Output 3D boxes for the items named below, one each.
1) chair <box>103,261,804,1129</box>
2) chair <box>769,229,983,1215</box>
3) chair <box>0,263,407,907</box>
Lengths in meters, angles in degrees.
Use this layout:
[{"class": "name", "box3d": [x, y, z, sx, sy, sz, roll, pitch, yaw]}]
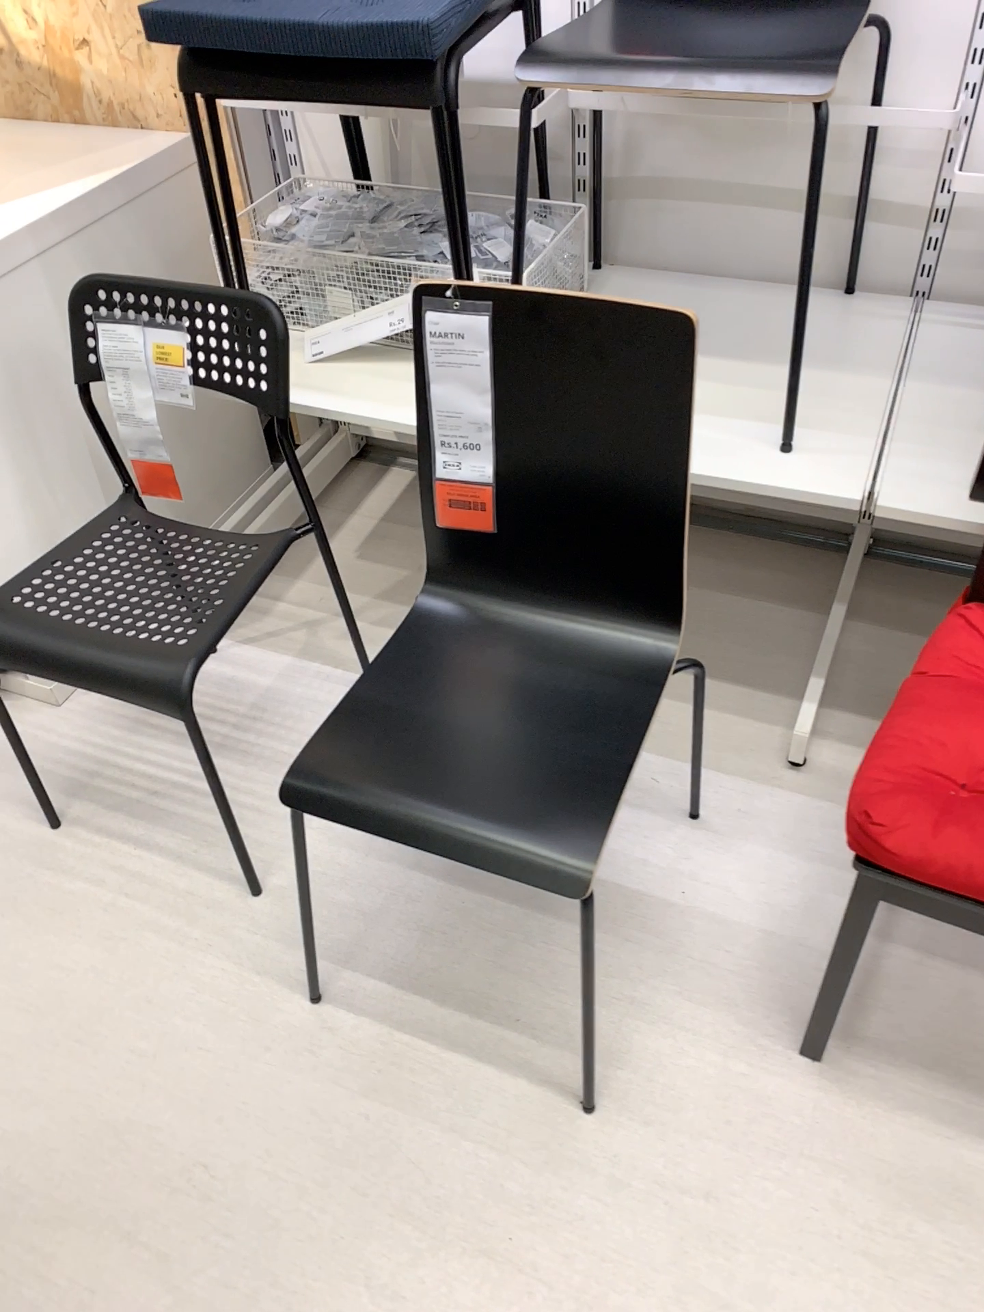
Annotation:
[{"class": "chair", "box3d": [0.026, 0.058, 1.258, 0.481, 0.827, 0.592, 14, 47, 19]}, {"class": "chair", "box3d": [0.629, 0.103, 1.044, 0.451, 0.857, 0.481, 15, 48, 20]}, {"class": "chair", "box3d": [-0.498, -0.106, 1.519, 0.470, 0.727, 0.532, 14, 47, 18]}]
